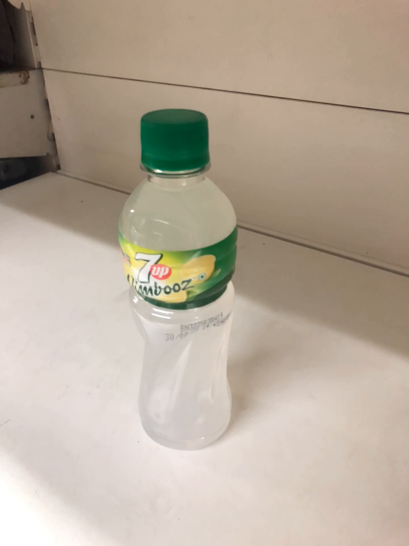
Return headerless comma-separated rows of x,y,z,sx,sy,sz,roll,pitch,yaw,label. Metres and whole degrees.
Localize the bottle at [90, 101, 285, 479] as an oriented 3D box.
-0.007,0.015,0.257,0.070,0.199,0.060,13,32,21,bottle
